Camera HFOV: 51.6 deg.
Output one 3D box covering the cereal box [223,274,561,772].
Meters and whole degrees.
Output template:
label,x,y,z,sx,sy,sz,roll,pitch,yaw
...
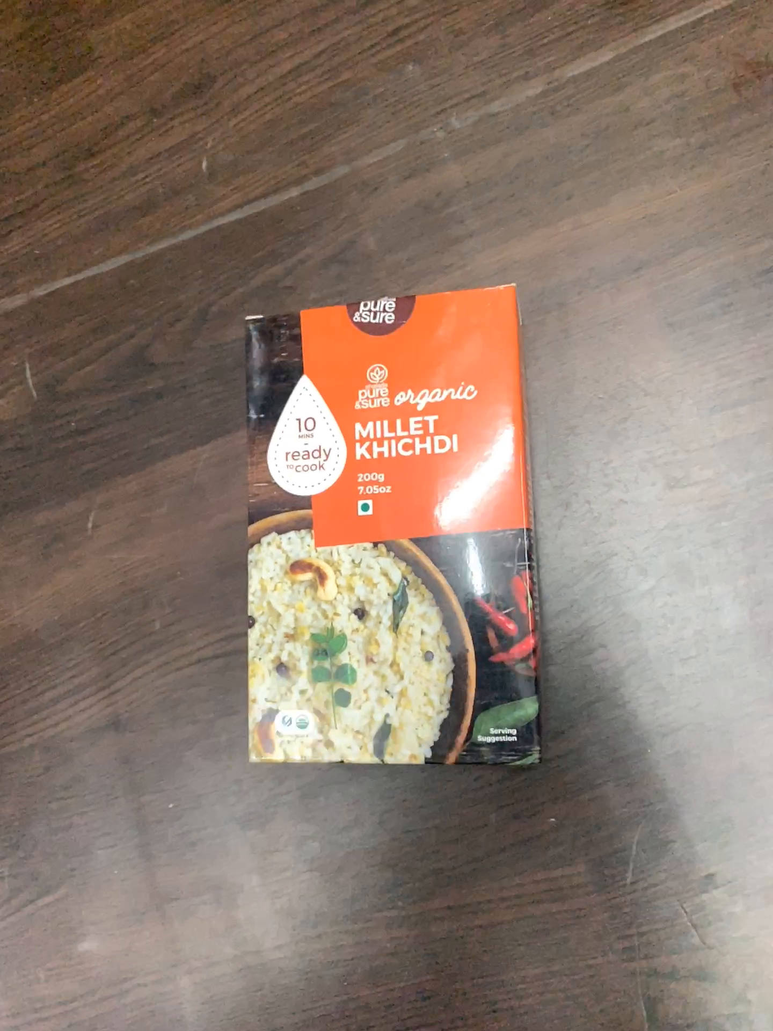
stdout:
label,x,y,z,sx,sy,sz,roll,pitch,yaw
cereal box,0.002,0.005,0.287,0.110,0.040,0.160,-3,81,14
